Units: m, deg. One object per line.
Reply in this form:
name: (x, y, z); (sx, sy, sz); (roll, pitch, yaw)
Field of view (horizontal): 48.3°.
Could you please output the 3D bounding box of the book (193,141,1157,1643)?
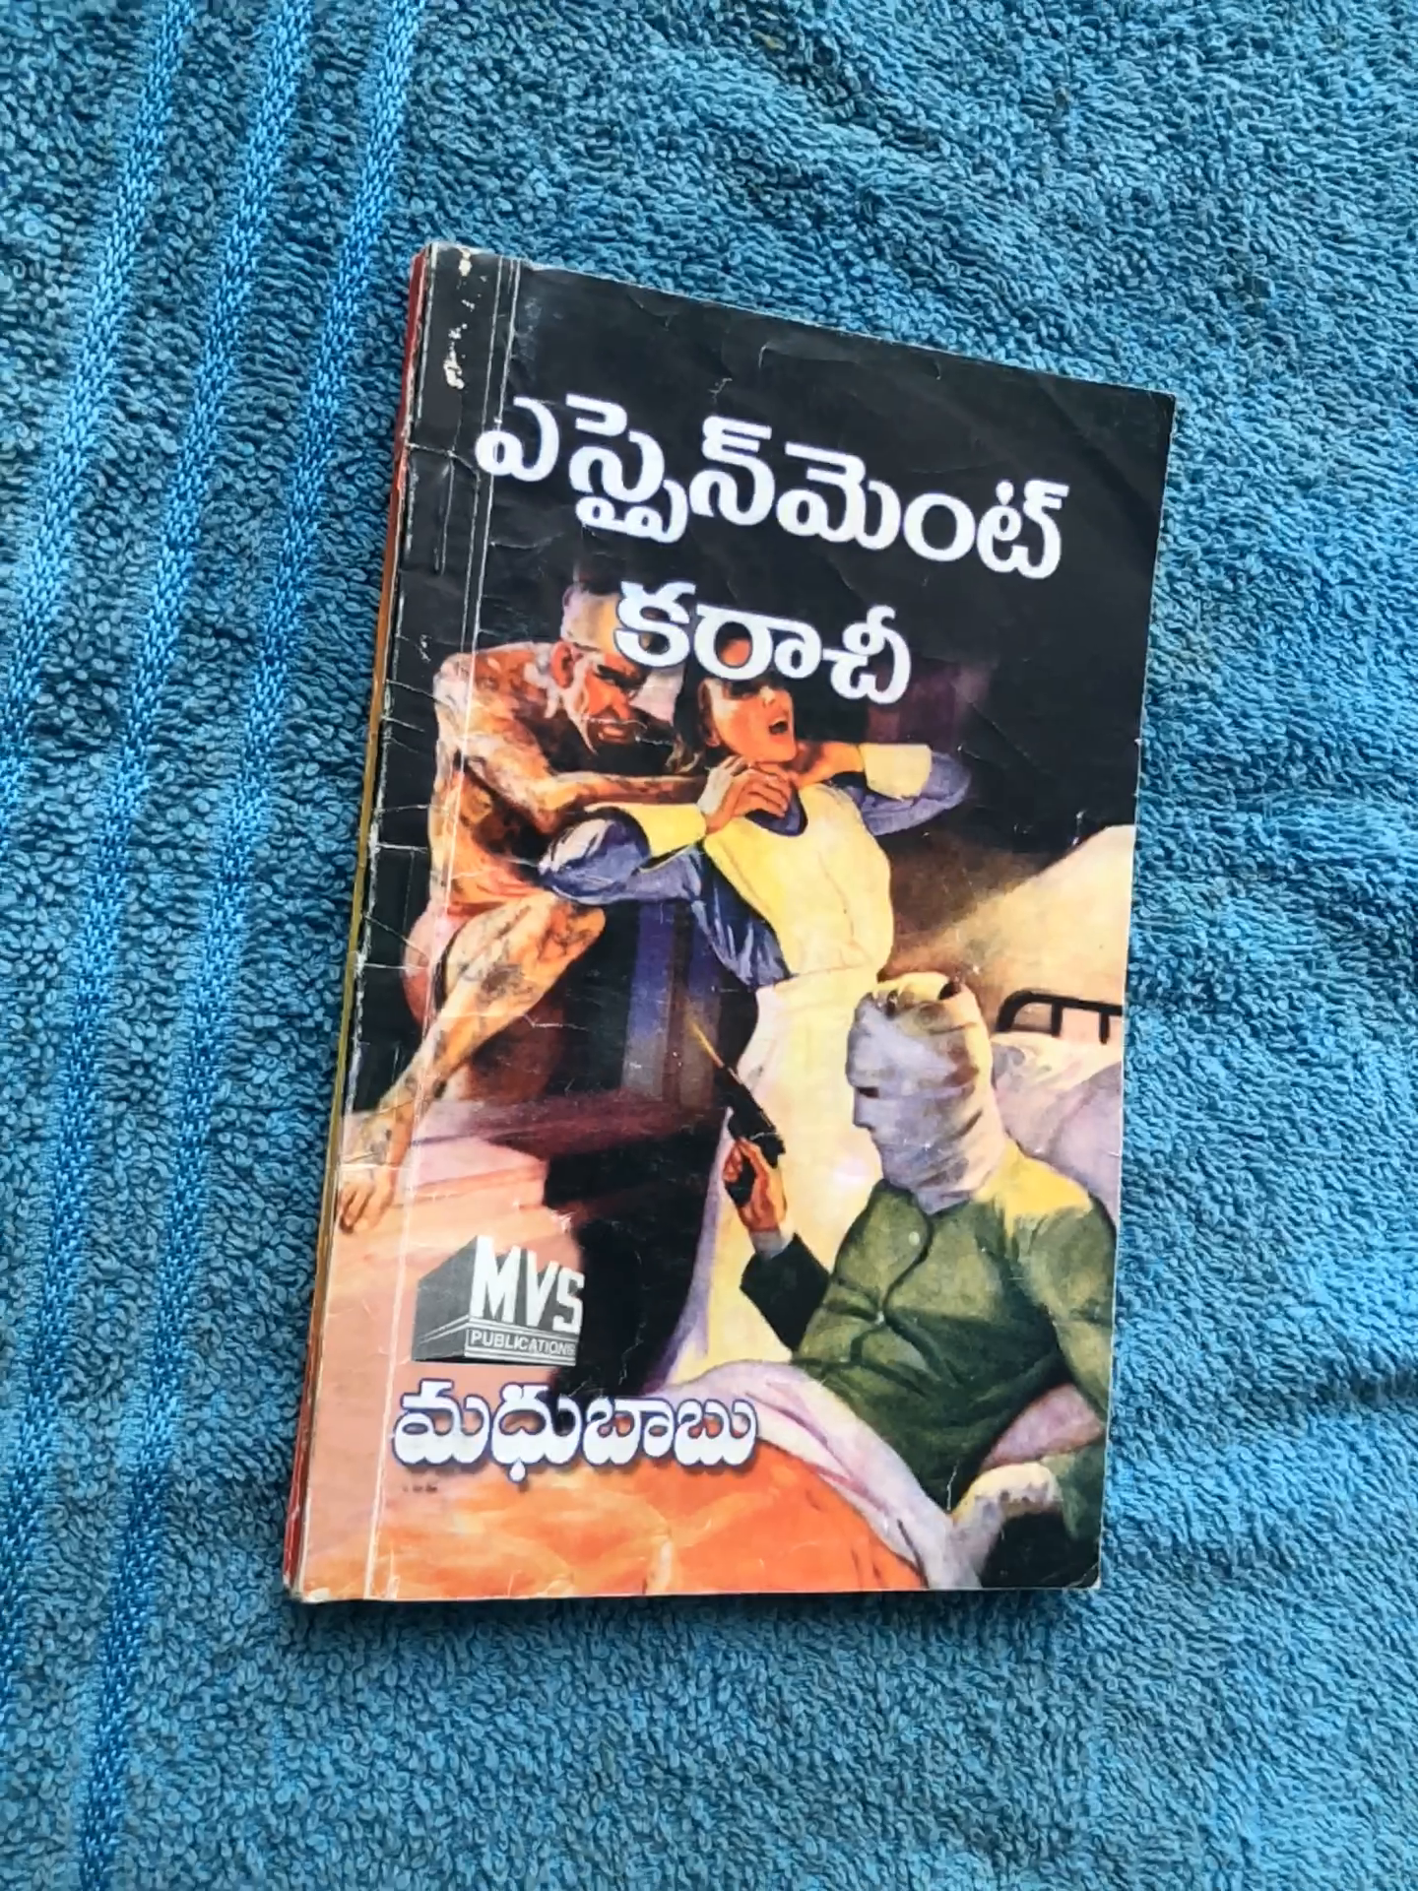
book: (0.000, -0.004, 0.204); (0.110, 0.020, 0.170); (5, 86, -17)
